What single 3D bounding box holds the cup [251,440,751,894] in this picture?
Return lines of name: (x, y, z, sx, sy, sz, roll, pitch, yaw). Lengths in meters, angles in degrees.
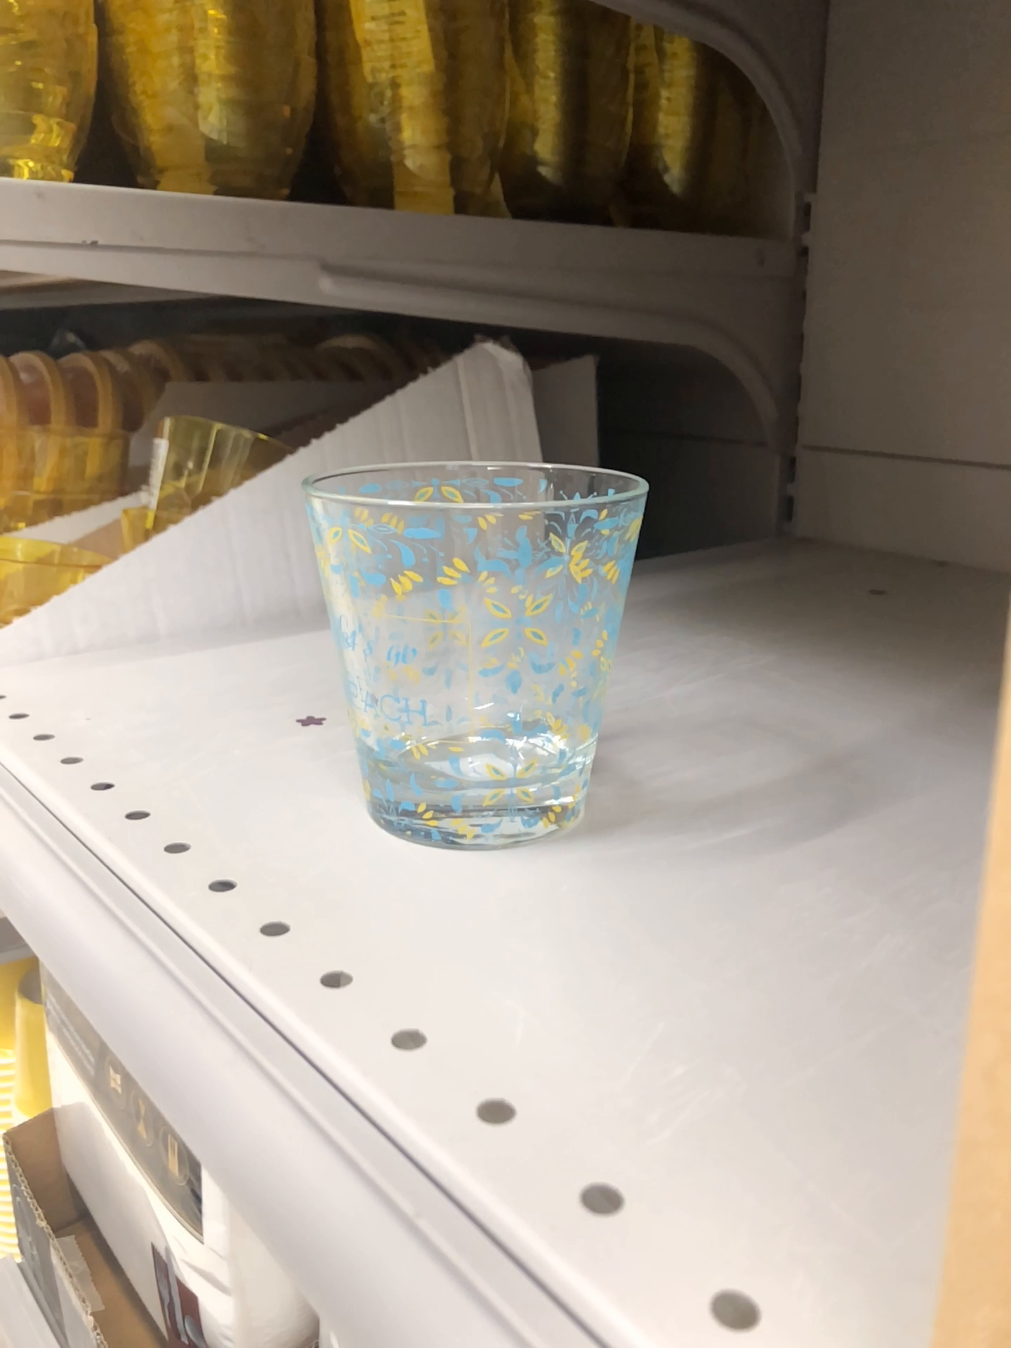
cup: (0.000, -0.011, 0.285, 0.088, 0.080, 0.084, -1, 19, 0)
